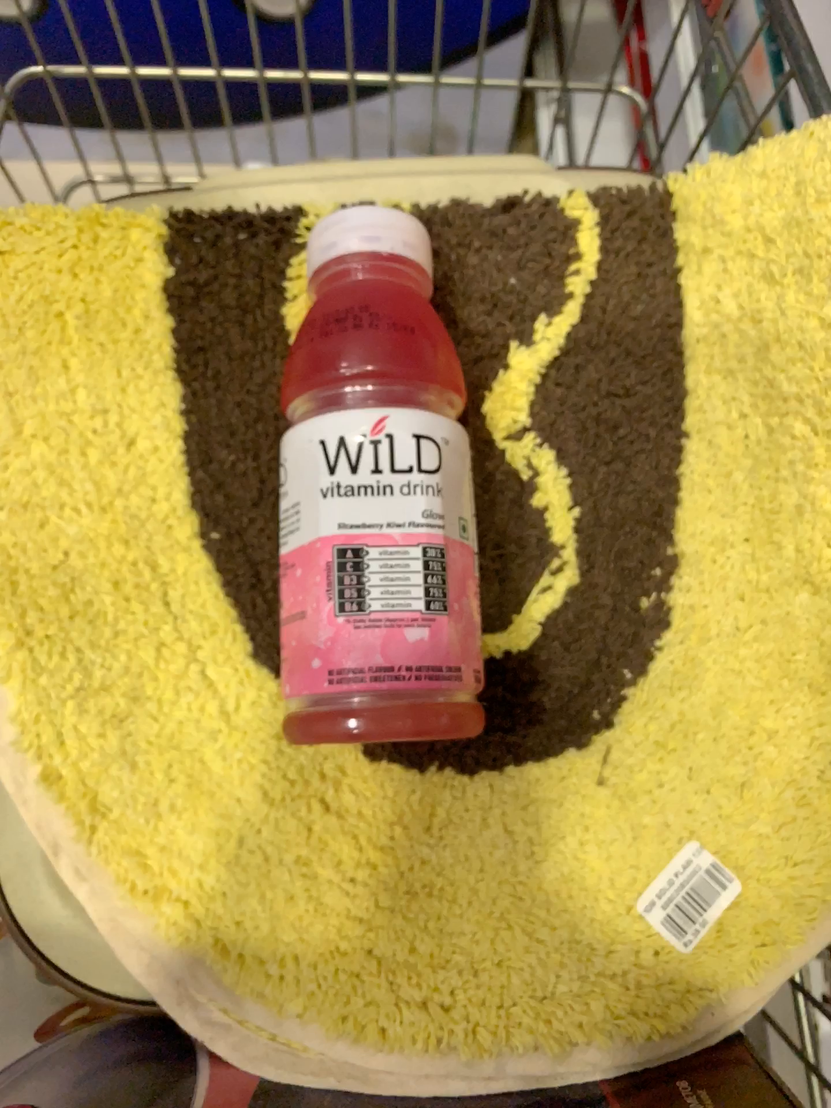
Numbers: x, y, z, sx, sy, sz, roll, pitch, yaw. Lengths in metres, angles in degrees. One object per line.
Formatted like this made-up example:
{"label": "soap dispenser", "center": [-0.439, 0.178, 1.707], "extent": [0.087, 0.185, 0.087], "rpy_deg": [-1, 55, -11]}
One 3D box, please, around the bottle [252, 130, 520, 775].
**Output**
{"label": "bottle", "center": [-0.009, -0.026, 0.241], "extent": [0.060, 0.050, 0.160], "rpy_deg": [-2, 85, -1]}
